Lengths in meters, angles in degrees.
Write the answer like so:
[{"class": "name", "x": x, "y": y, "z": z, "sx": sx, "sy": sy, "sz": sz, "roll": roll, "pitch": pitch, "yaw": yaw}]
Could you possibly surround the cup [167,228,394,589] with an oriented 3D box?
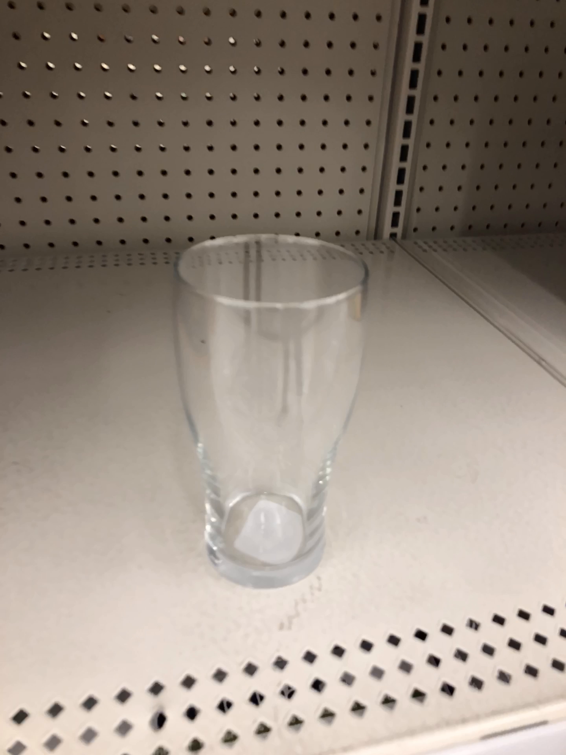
[{"class": "cup", "x": -0.004, "y": 0.014, "z": 0.277, "sx": 0.076, "sy": 0.138, "sz": 0.081, "roll": 1, "pitch": 31, "yaw": -1}]
